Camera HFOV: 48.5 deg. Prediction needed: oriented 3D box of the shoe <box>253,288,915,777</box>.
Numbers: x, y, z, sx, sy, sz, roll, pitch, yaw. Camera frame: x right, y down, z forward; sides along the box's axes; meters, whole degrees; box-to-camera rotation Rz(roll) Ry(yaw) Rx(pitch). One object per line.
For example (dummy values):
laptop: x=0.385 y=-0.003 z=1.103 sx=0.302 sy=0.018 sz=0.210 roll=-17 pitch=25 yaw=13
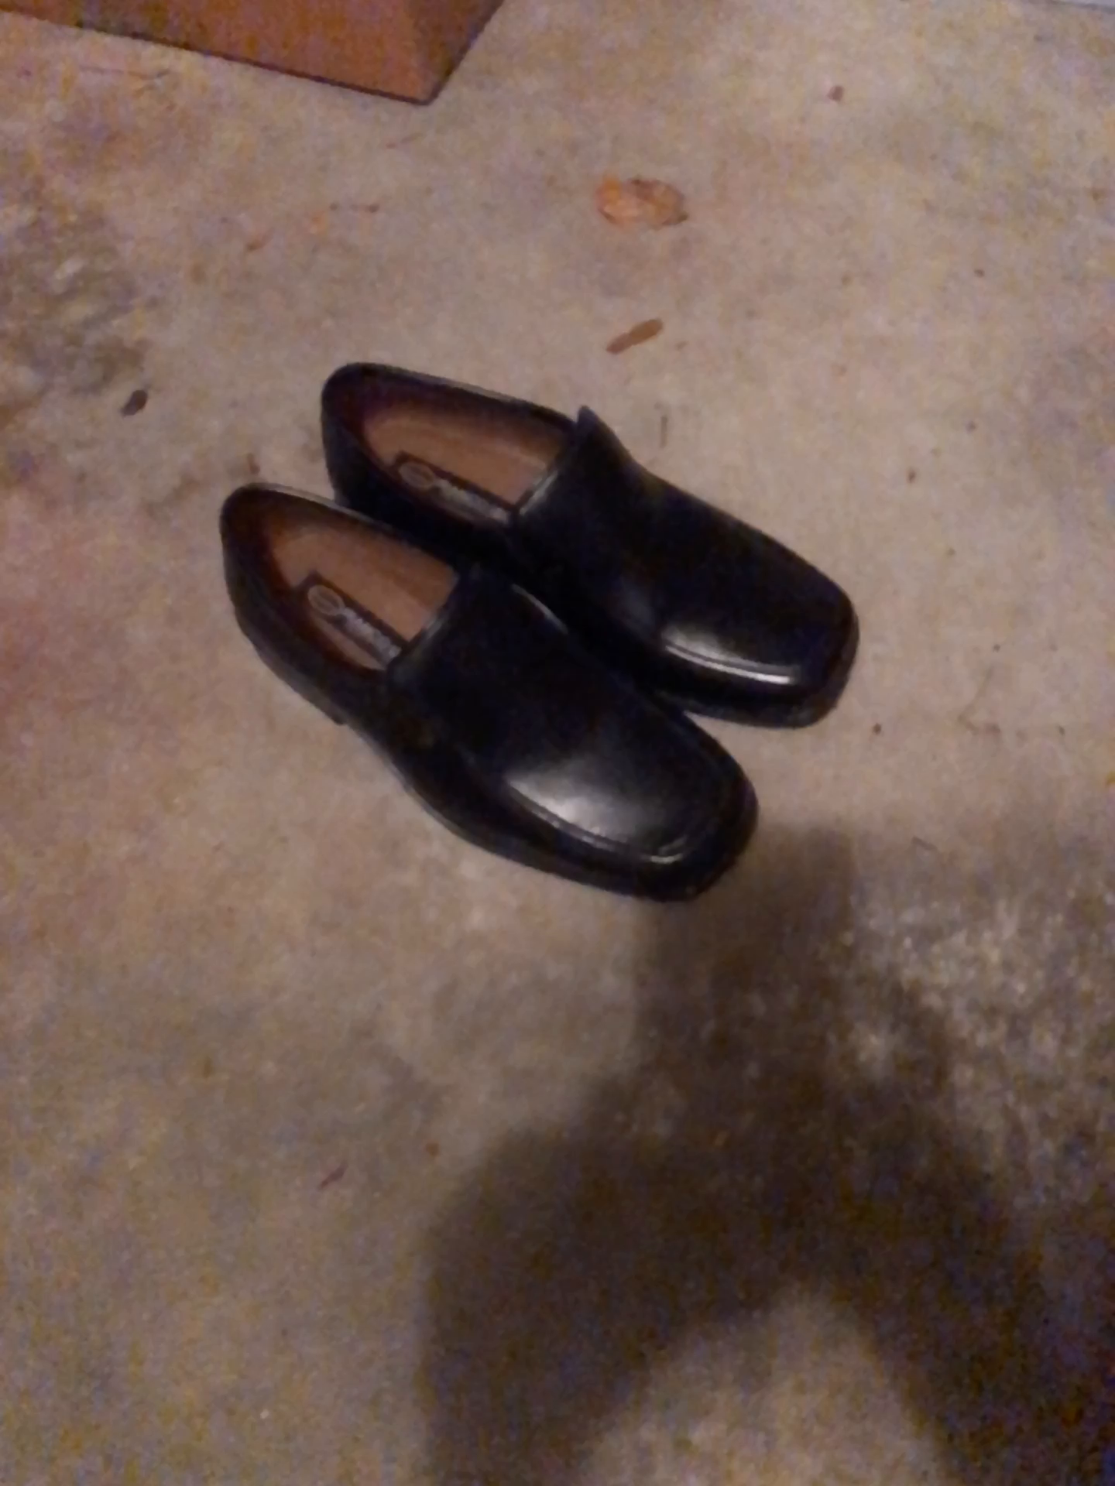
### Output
shoe: x=0.012 y=-0.100 z=0.587 sx=0.269 sy=0.113 sz=0.104 roll=23 pitch=71 yaw=15

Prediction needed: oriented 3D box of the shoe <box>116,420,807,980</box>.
shoe: x=-0.041 y=-0.021 z=0.560 sx=0.279 sy=0.113 sz=0.101 roll=29 pitch=72 yaw=17
